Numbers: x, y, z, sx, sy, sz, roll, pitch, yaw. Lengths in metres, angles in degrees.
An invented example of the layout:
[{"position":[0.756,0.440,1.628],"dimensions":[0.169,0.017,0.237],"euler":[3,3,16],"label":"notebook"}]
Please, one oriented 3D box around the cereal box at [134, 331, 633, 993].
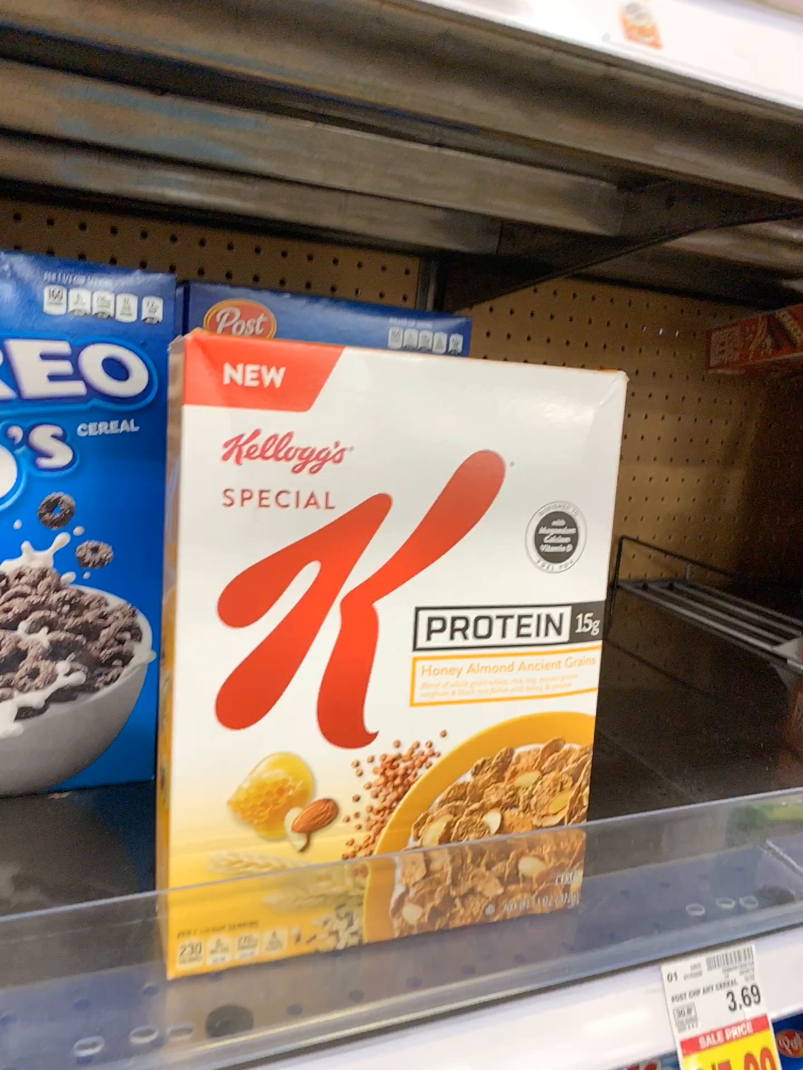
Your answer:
[{"position":[-0.007,0.050,0.357],"dimensions":[0.200,0.250,0.040],"euler":[0,8,-21],"label":"cereal box"}]
